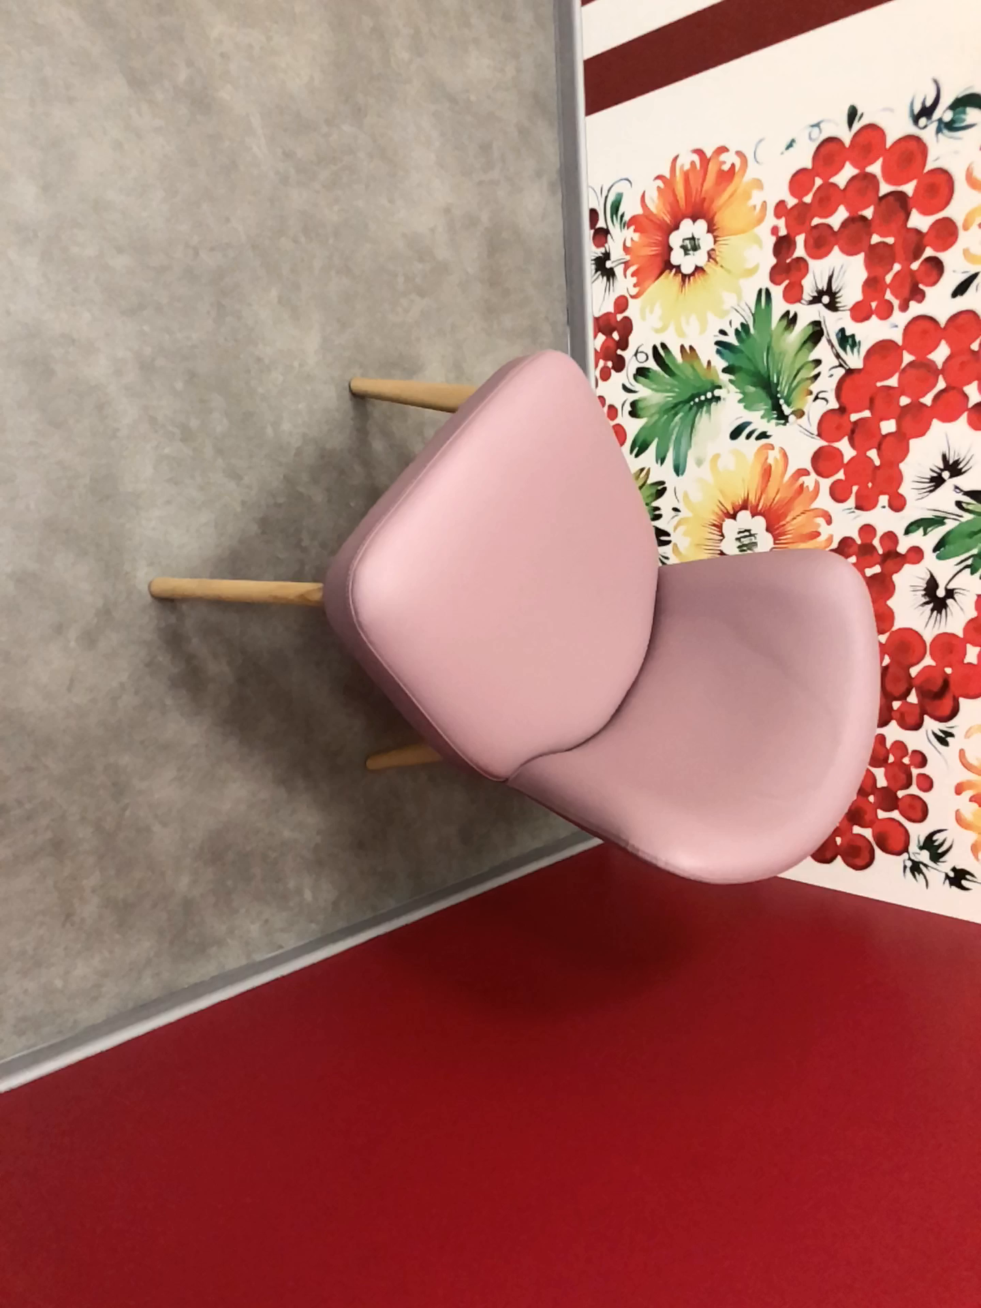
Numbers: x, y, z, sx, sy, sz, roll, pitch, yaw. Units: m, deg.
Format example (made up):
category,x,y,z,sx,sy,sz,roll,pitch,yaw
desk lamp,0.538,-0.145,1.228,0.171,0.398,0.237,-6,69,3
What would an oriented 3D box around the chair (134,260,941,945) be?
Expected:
category,x,y,z,sx,sy,sz,roll,pitch,yaw
chair,0.059,-0.068,1.439,0.512,0.785,0.541,-55,127,-28
